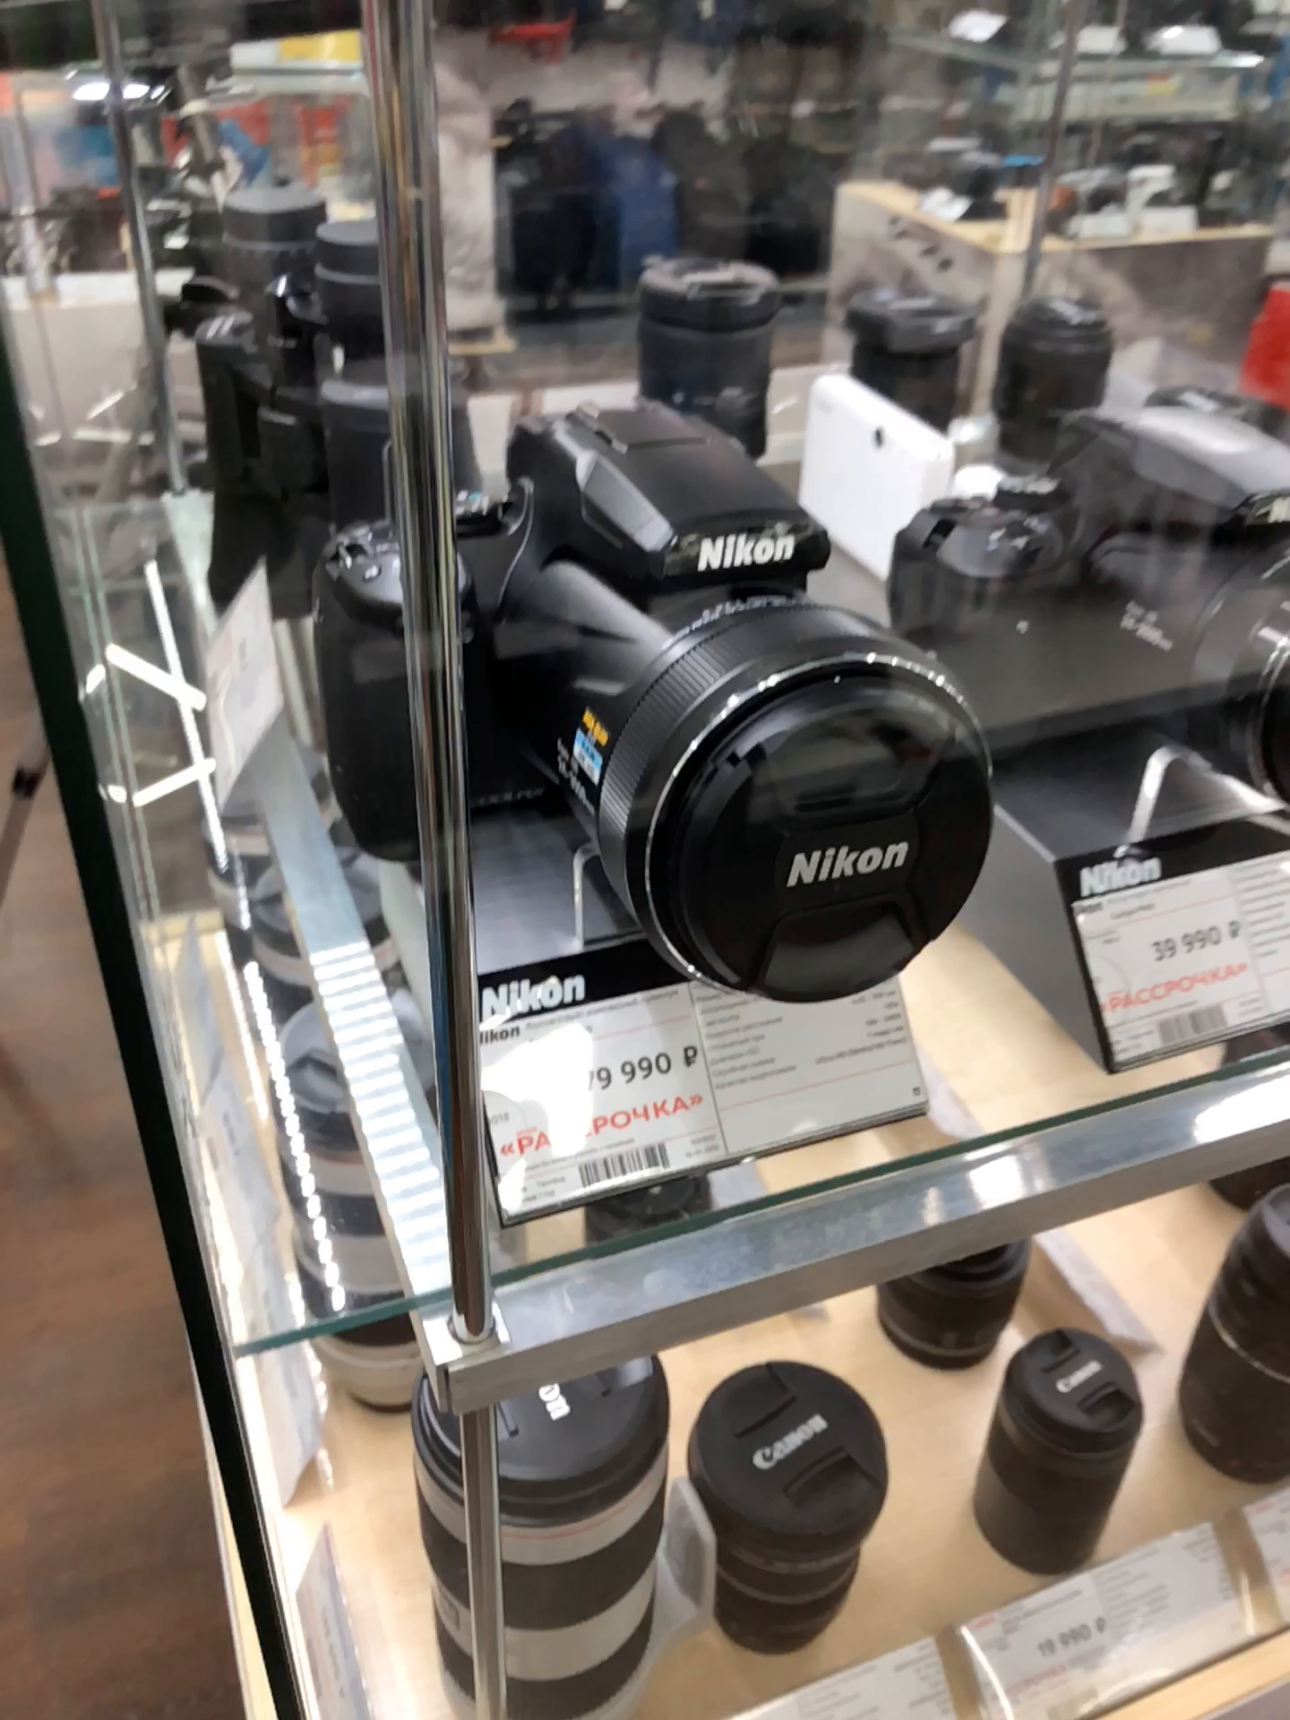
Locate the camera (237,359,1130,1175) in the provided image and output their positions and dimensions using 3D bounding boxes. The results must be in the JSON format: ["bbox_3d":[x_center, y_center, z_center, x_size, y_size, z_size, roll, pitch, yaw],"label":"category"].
[{"bbox_3d":[-0.009,-0.045,0.389,0.160,0.113,0.201,-10,37,-18],"label":"camera"}]
